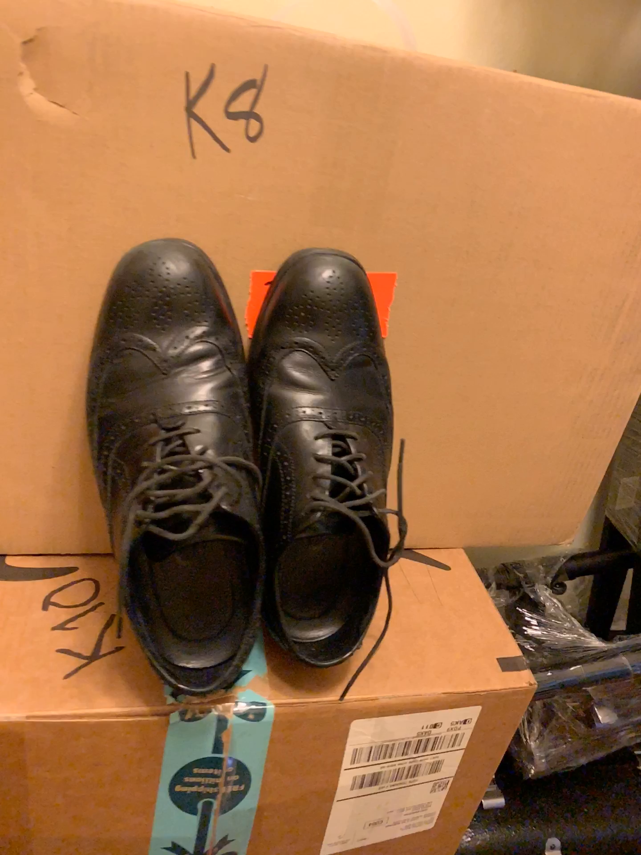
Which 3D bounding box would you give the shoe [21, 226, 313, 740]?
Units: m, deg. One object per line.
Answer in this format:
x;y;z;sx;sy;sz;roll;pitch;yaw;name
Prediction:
-0.088;0.027;0.409;0.120;0.279;0.100;-9;17;-16;shoe

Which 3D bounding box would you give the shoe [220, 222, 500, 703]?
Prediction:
0.013;0.020;0.428;0.120;0.279;0.100;2;15;-18;shoe
